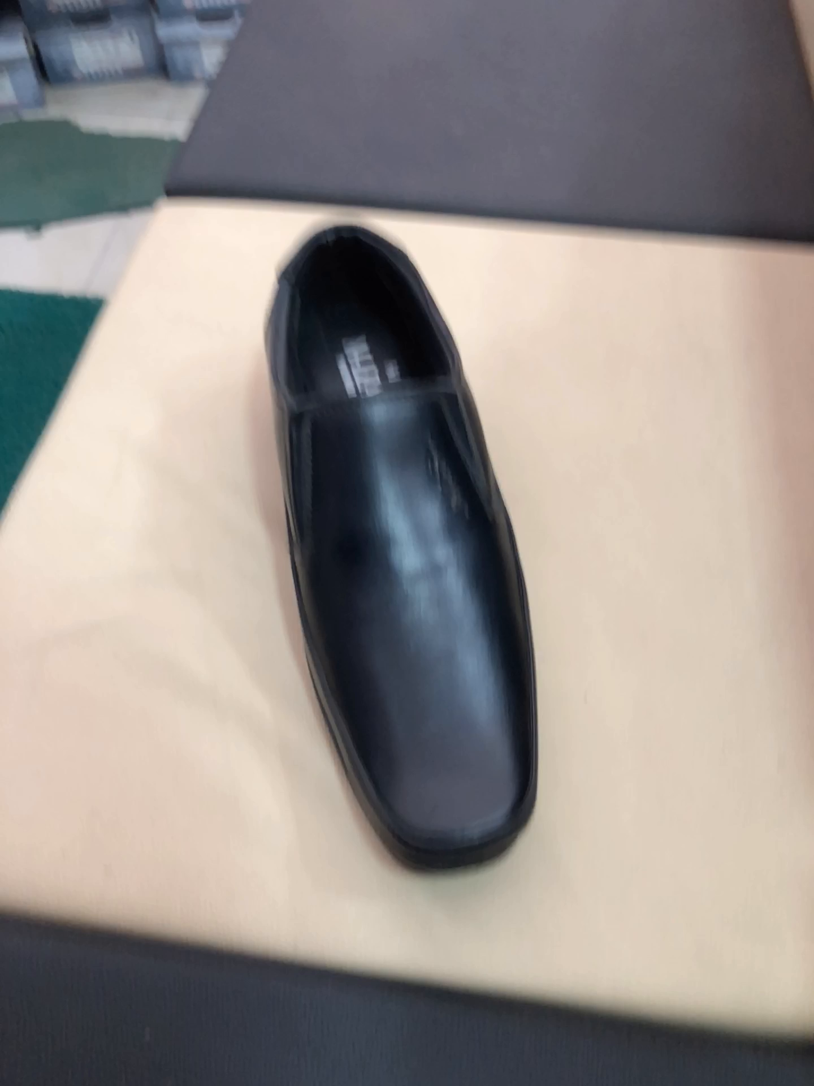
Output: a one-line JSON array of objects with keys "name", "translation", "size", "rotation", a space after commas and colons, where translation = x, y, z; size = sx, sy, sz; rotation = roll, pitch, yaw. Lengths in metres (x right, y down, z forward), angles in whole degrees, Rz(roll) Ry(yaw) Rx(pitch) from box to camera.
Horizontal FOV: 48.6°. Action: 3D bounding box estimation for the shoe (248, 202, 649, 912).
[{"name": "shoe", "translation": [-0.001, -0.016, 0.387], "size": [0.100, 0.080, 0.301], "rotation": [-8, 56, -6]}]
